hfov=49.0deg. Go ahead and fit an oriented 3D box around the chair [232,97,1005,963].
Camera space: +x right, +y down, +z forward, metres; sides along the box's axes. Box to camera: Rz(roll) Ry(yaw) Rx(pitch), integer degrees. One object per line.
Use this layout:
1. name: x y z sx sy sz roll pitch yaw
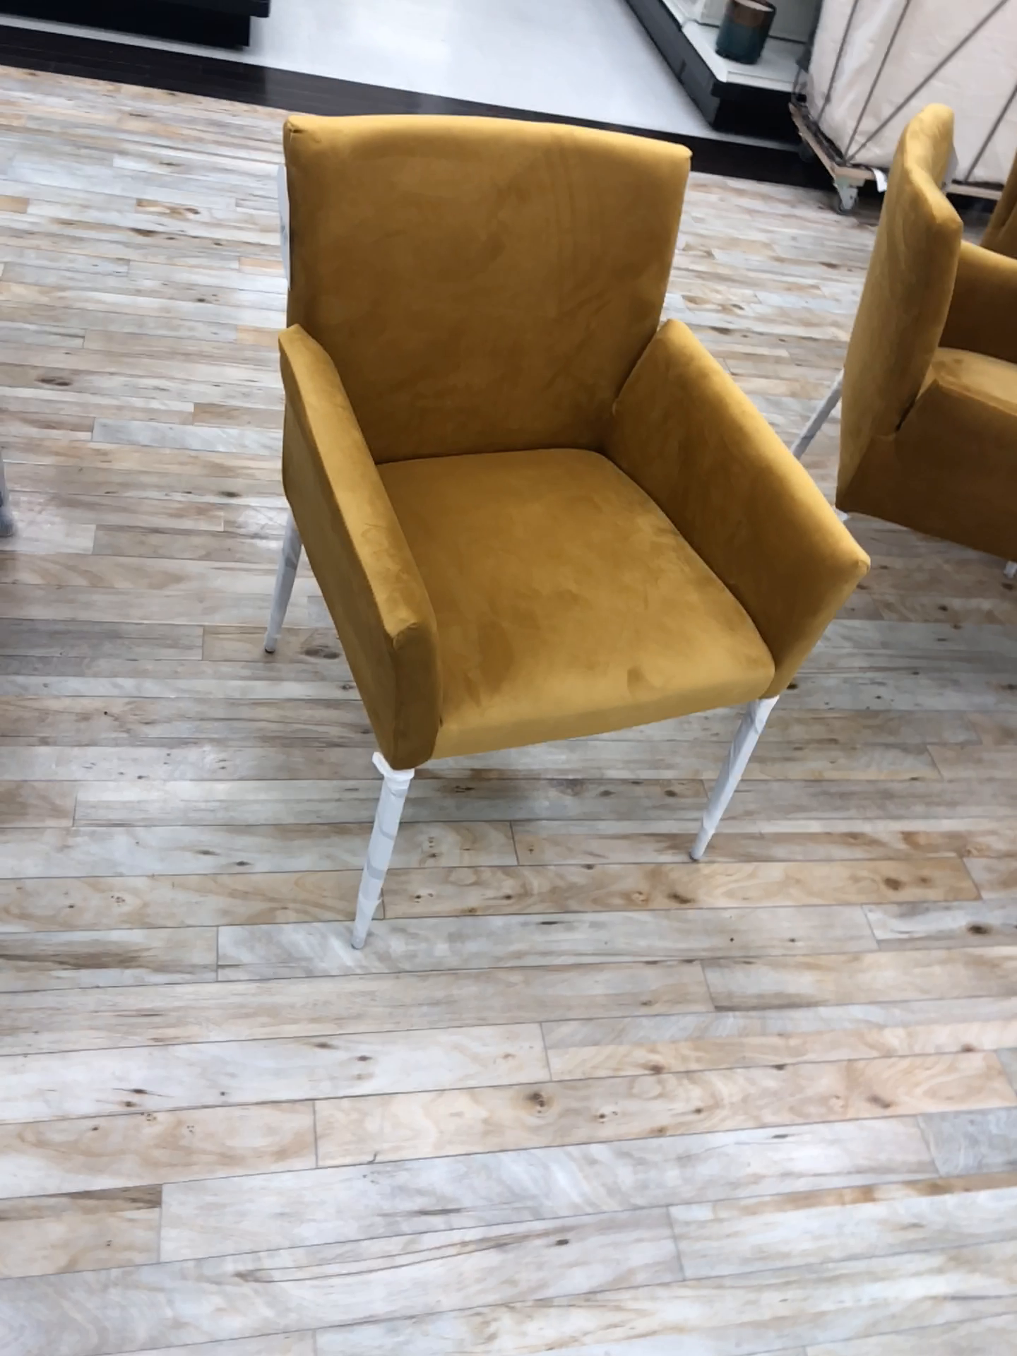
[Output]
1. chair: 0.024 -0.161 1.361 0.560 0.797 0.542 -9 50 -25
